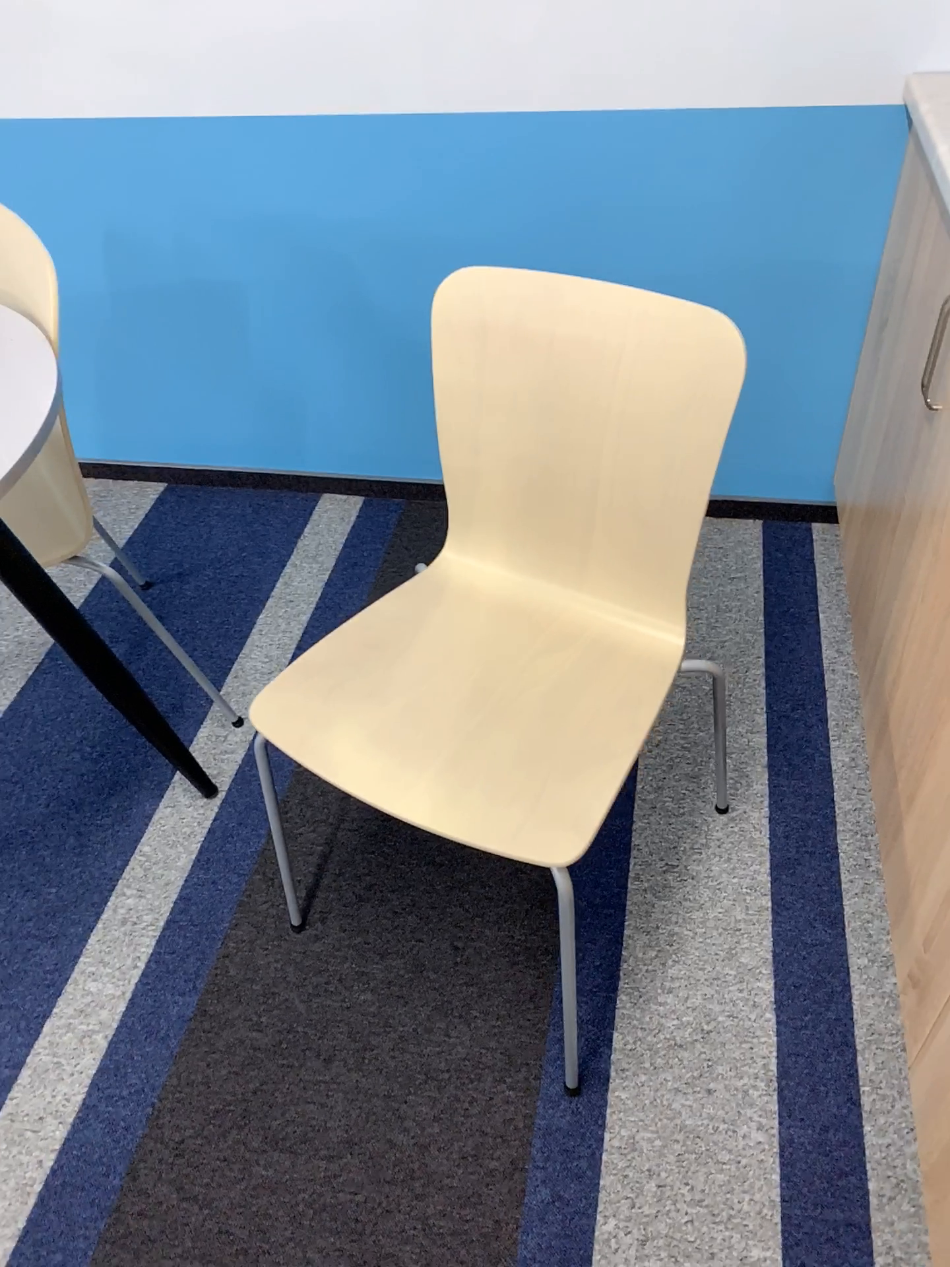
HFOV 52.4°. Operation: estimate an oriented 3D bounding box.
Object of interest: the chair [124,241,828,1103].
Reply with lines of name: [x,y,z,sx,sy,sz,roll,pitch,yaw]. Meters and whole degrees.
chair: [0.056,0.049,1.246,0.477,0.836,0.572,20,48,26]
